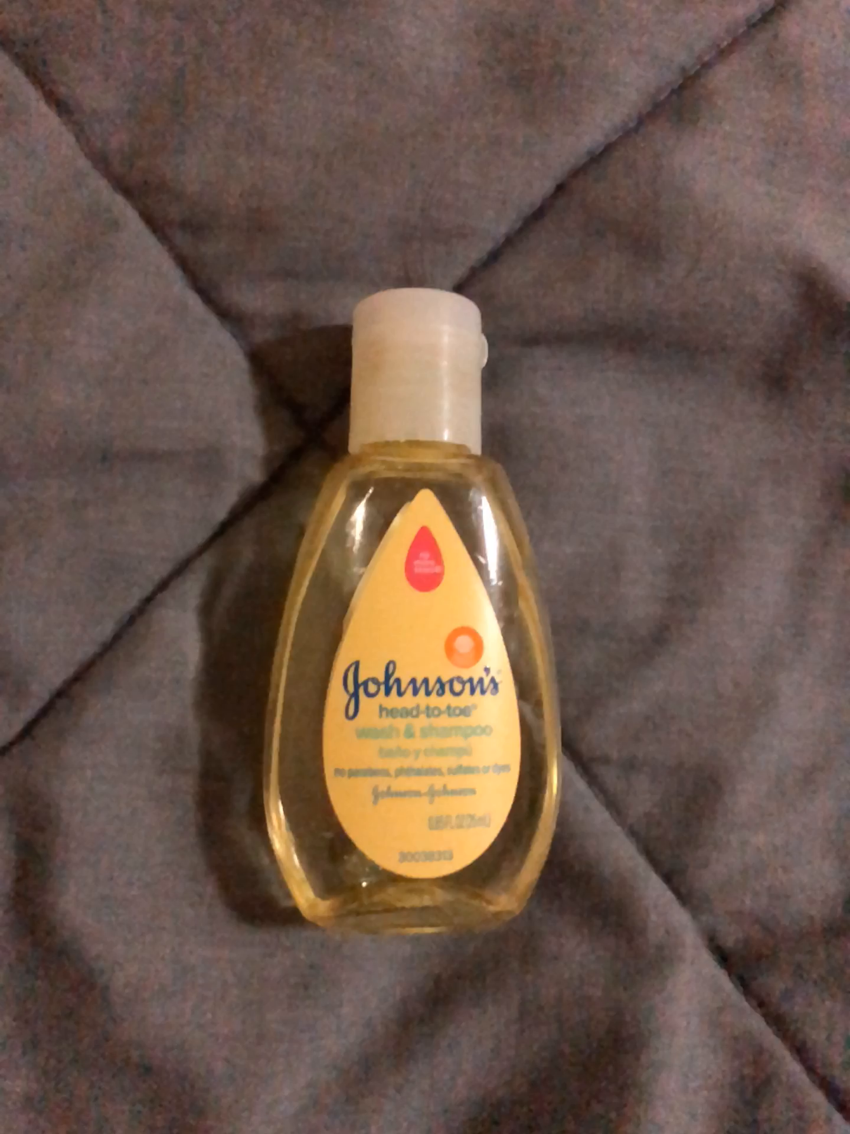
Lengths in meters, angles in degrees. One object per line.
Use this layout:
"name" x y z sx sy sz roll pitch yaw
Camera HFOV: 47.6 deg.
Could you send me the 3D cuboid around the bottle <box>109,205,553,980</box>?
"bottle" -0.012 0.002 0.124 0.050 0.020 0.090 0 83 -7
